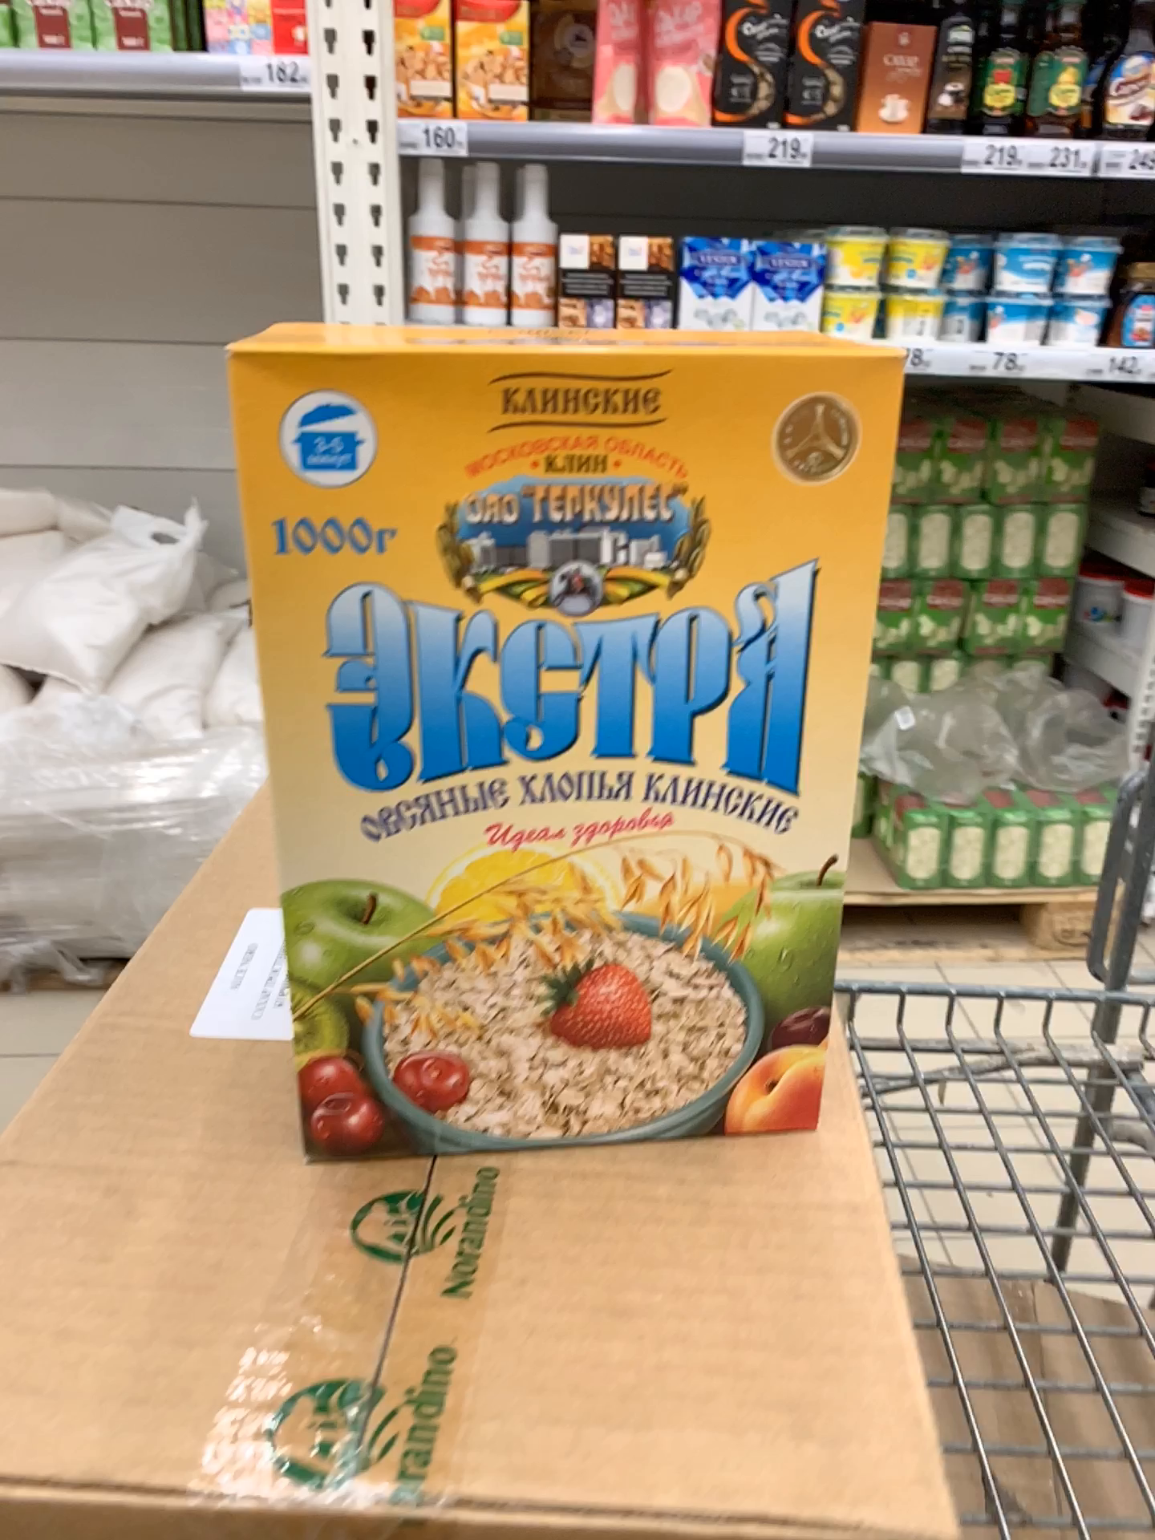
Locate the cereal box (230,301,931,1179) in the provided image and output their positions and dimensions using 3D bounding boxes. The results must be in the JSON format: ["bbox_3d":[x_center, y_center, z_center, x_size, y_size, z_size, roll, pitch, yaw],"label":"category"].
[{"bbox_3d":[-0.006,-0.010,0.362,0.160,0.239,0.100,-2,24,-7],"label":"cereal box"}]
